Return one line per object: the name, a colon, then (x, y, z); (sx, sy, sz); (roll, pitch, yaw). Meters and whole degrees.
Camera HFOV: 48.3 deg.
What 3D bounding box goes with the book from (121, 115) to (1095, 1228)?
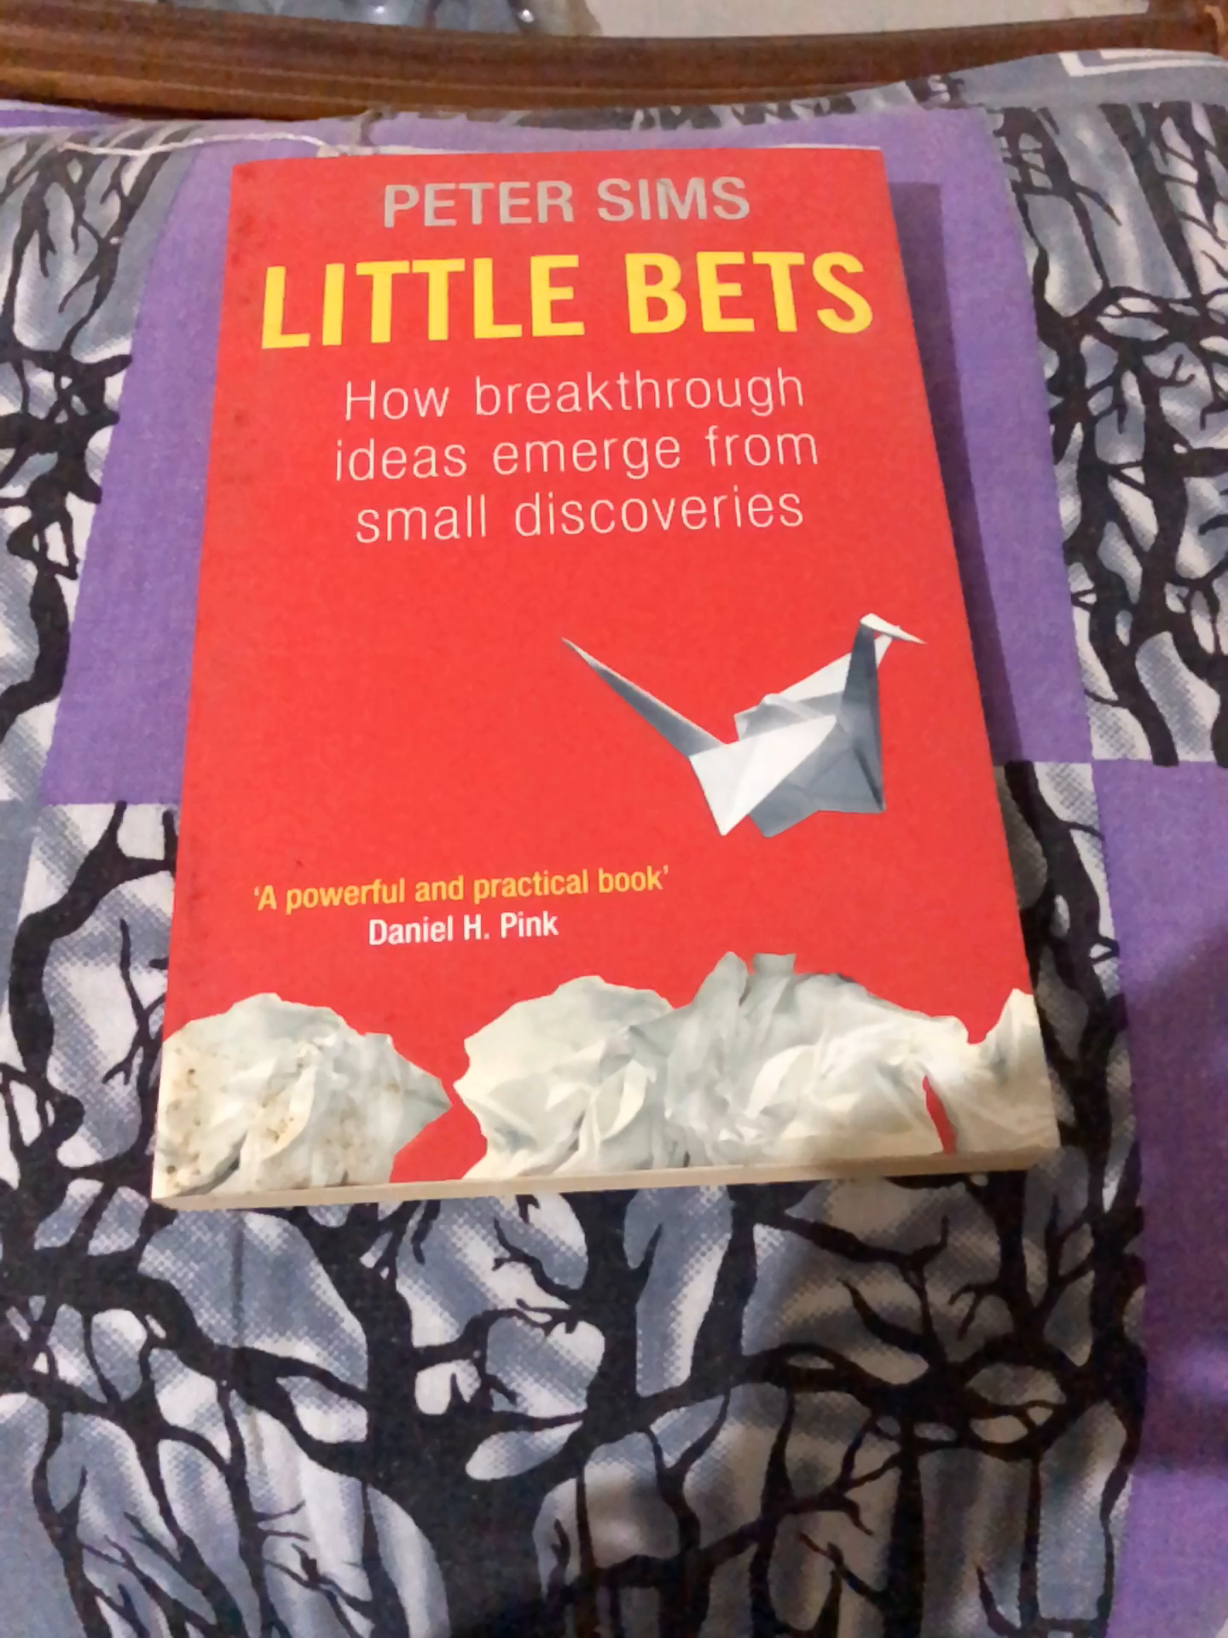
book: (-0.005, -0.047, 0.273); (0.150, 0.020, 0.240); (-3, 64, 0)
